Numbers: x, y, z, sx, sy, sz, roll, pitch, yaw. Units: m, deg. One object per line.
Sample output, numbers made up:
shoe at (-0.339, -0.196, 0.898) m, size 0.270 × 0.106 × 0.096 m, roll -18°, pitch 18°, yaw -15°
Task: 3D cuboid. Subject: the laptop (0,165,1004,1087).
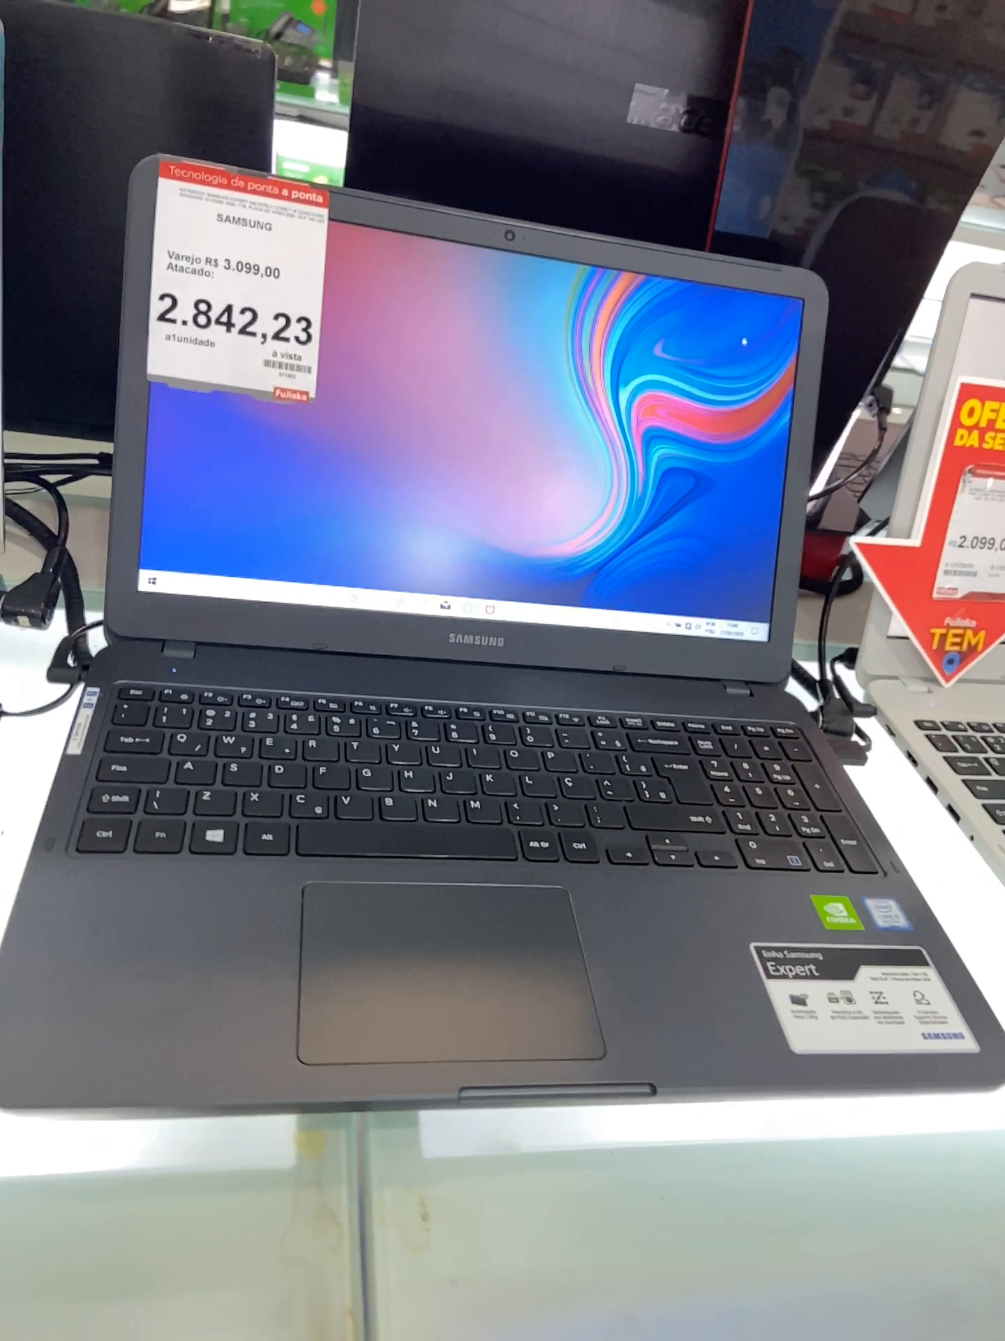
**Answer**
laptop at (0.011, -0.047, 0.451) m, size 0.366 × 0.193 × 0.371 m, roll 4°, pitch 35°, yaw -12°
